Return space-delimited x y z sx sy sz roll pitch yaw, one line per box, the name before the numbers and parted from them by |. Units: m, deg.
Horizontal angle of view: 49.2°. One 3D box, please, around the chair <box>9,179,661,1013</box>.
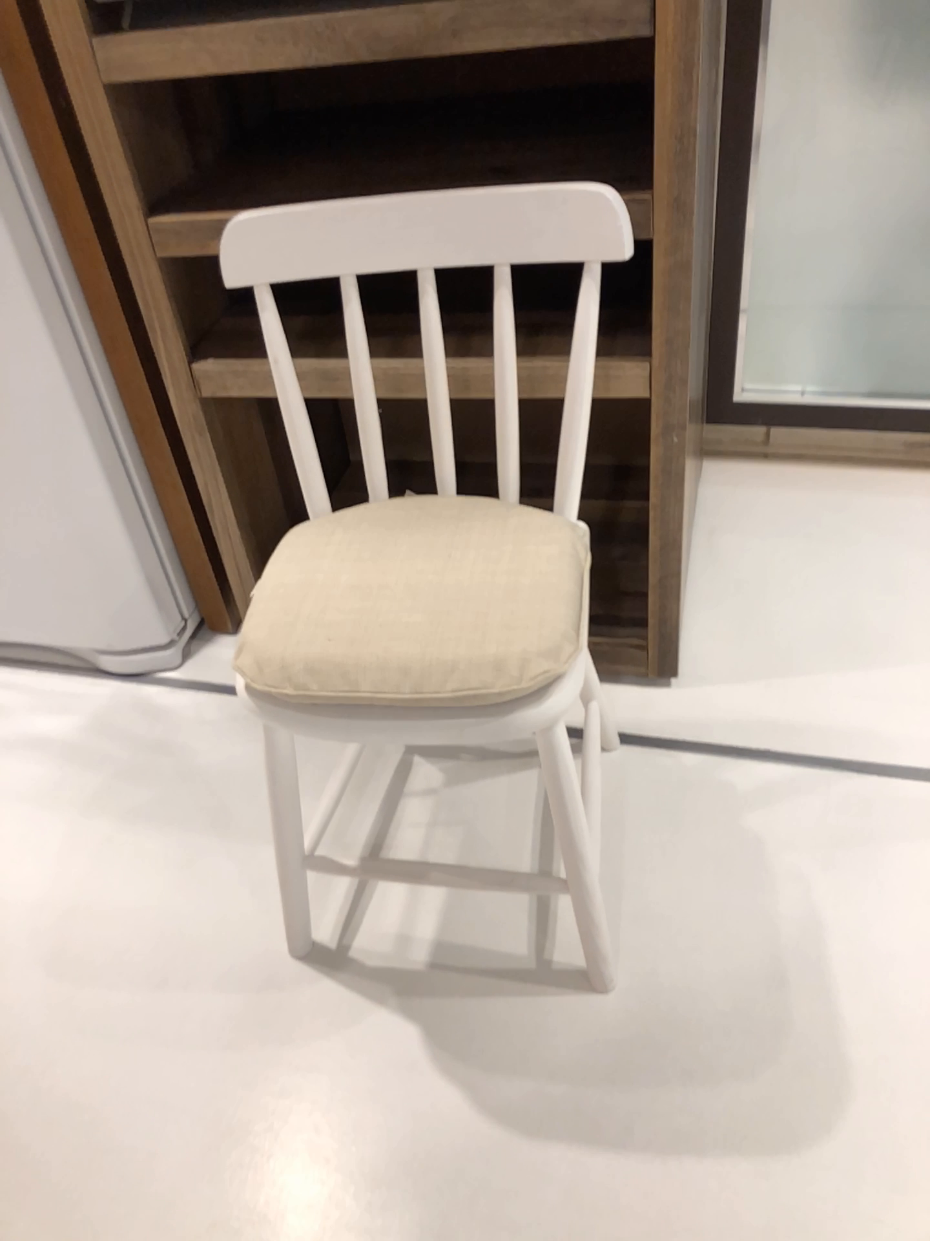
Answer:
chair | -0.033 -0.015 1.107 0.450 0.725 0.483 2 40 12
